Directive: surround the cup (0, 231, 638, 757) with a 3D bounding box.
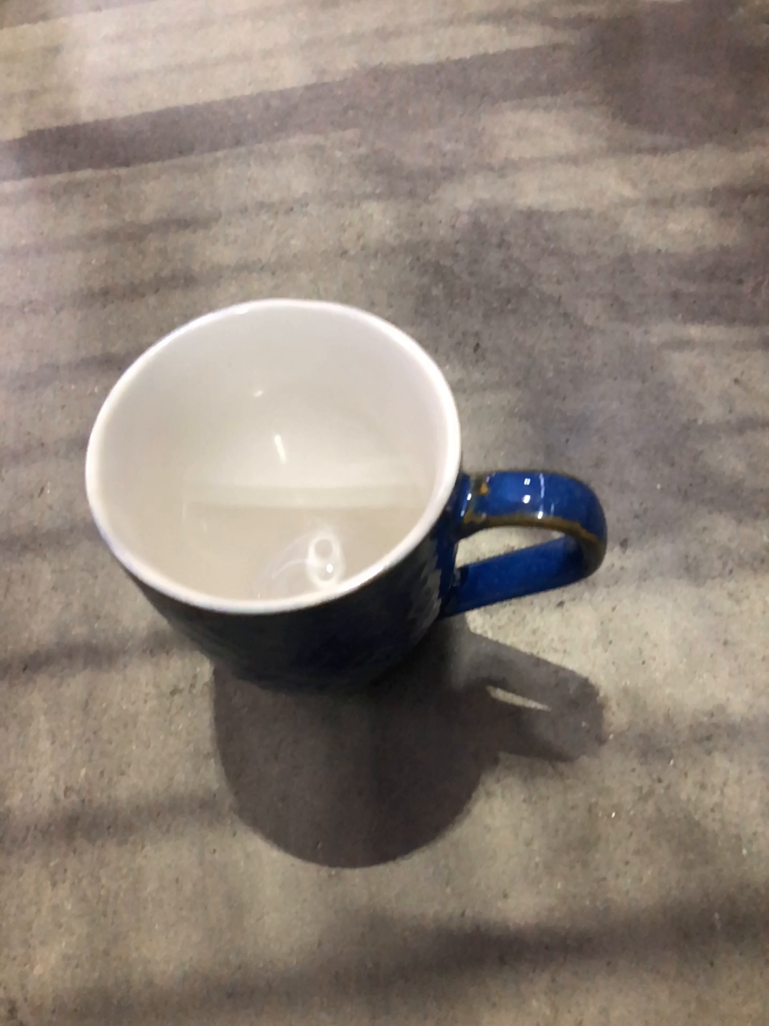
[{"bbox_3d":[-0.008,-0.003,0.183,0.110,0.070,0.080,5,62,10],"label":"cup"}]
